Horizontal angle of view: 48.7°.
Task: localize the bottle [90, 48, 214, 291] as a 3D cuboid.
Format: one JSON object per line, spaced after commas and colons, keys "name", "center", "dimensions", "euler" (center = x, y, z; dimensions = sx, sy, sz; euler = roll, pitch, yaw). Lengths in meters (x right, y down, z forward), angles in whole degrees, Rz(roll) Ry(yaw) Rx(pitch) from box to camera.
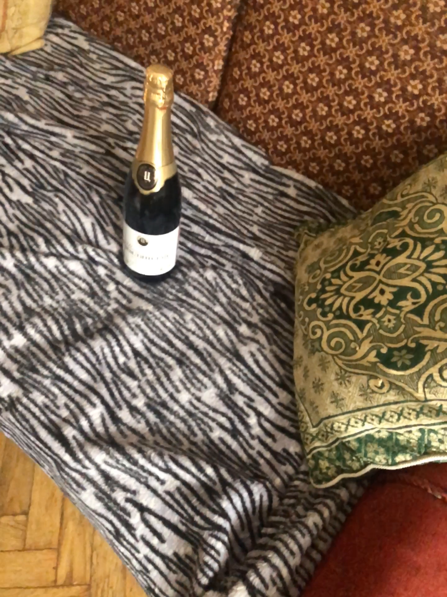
{"name": "bottle", "center": [-0.092, -0.152, 0.645], "dimensions": [0.100, 0.279, 0.101], "euler": [4, 49, -5]}
